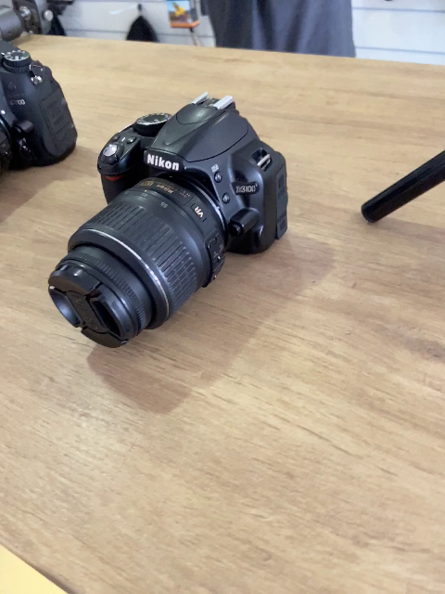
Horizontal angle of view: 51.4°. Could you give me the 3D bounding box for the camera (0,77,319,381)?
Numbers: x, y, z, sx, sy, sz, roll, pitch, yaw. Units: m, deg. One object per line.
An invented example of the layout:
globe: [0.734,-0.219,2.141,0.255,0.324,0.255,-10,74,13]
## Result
camera: [-0.034,-0.061,0.308,0.130,0.089,0.181,19,50,26]
